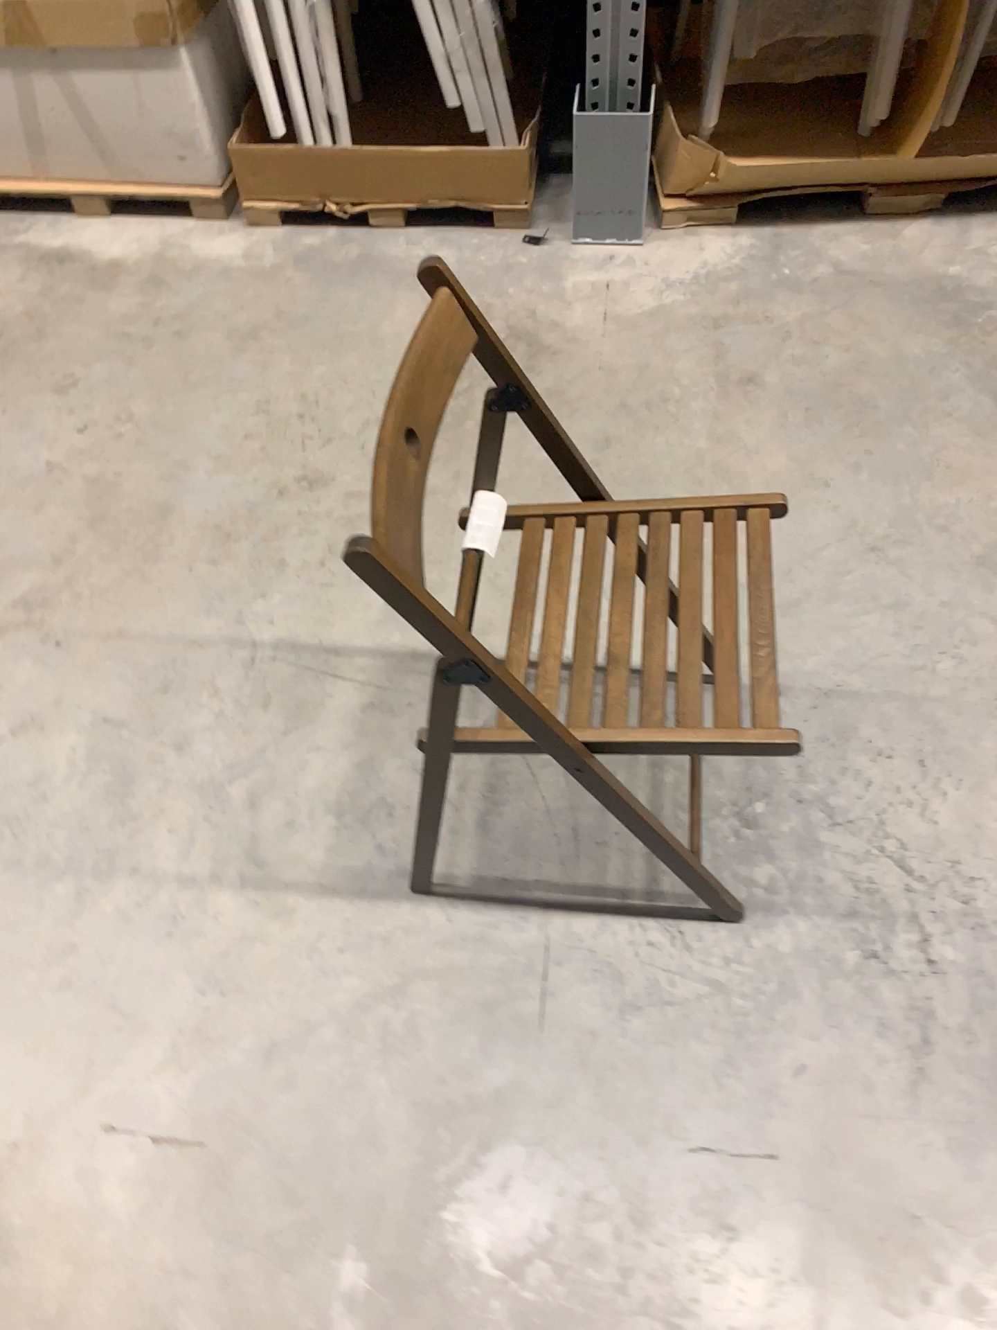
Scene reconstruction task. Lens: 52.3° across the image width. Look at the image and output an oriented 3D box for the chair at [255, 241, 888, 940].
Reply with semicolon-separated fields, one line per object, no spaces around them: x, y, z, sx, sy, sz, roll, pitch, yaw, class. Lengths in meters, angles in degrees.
0.094;-0.049;1.225;0.500;0.698;0.481;3;55;6;chair
